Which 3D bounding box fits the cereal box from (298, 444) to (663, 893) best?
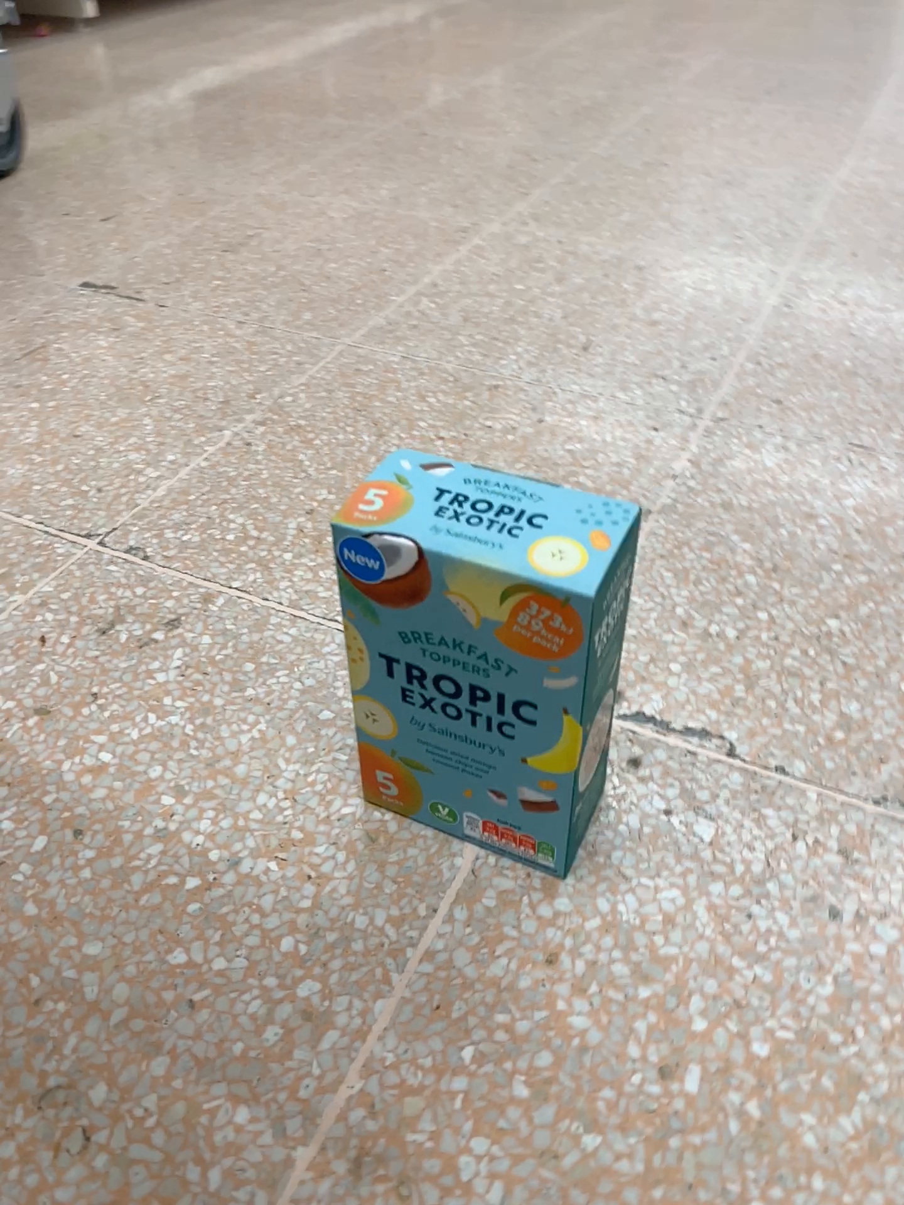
[{"bbox_3d":[0.011,0.028,0.366,0.110,0.149,0.060,16,43,20],"label":"cereal box"}]
